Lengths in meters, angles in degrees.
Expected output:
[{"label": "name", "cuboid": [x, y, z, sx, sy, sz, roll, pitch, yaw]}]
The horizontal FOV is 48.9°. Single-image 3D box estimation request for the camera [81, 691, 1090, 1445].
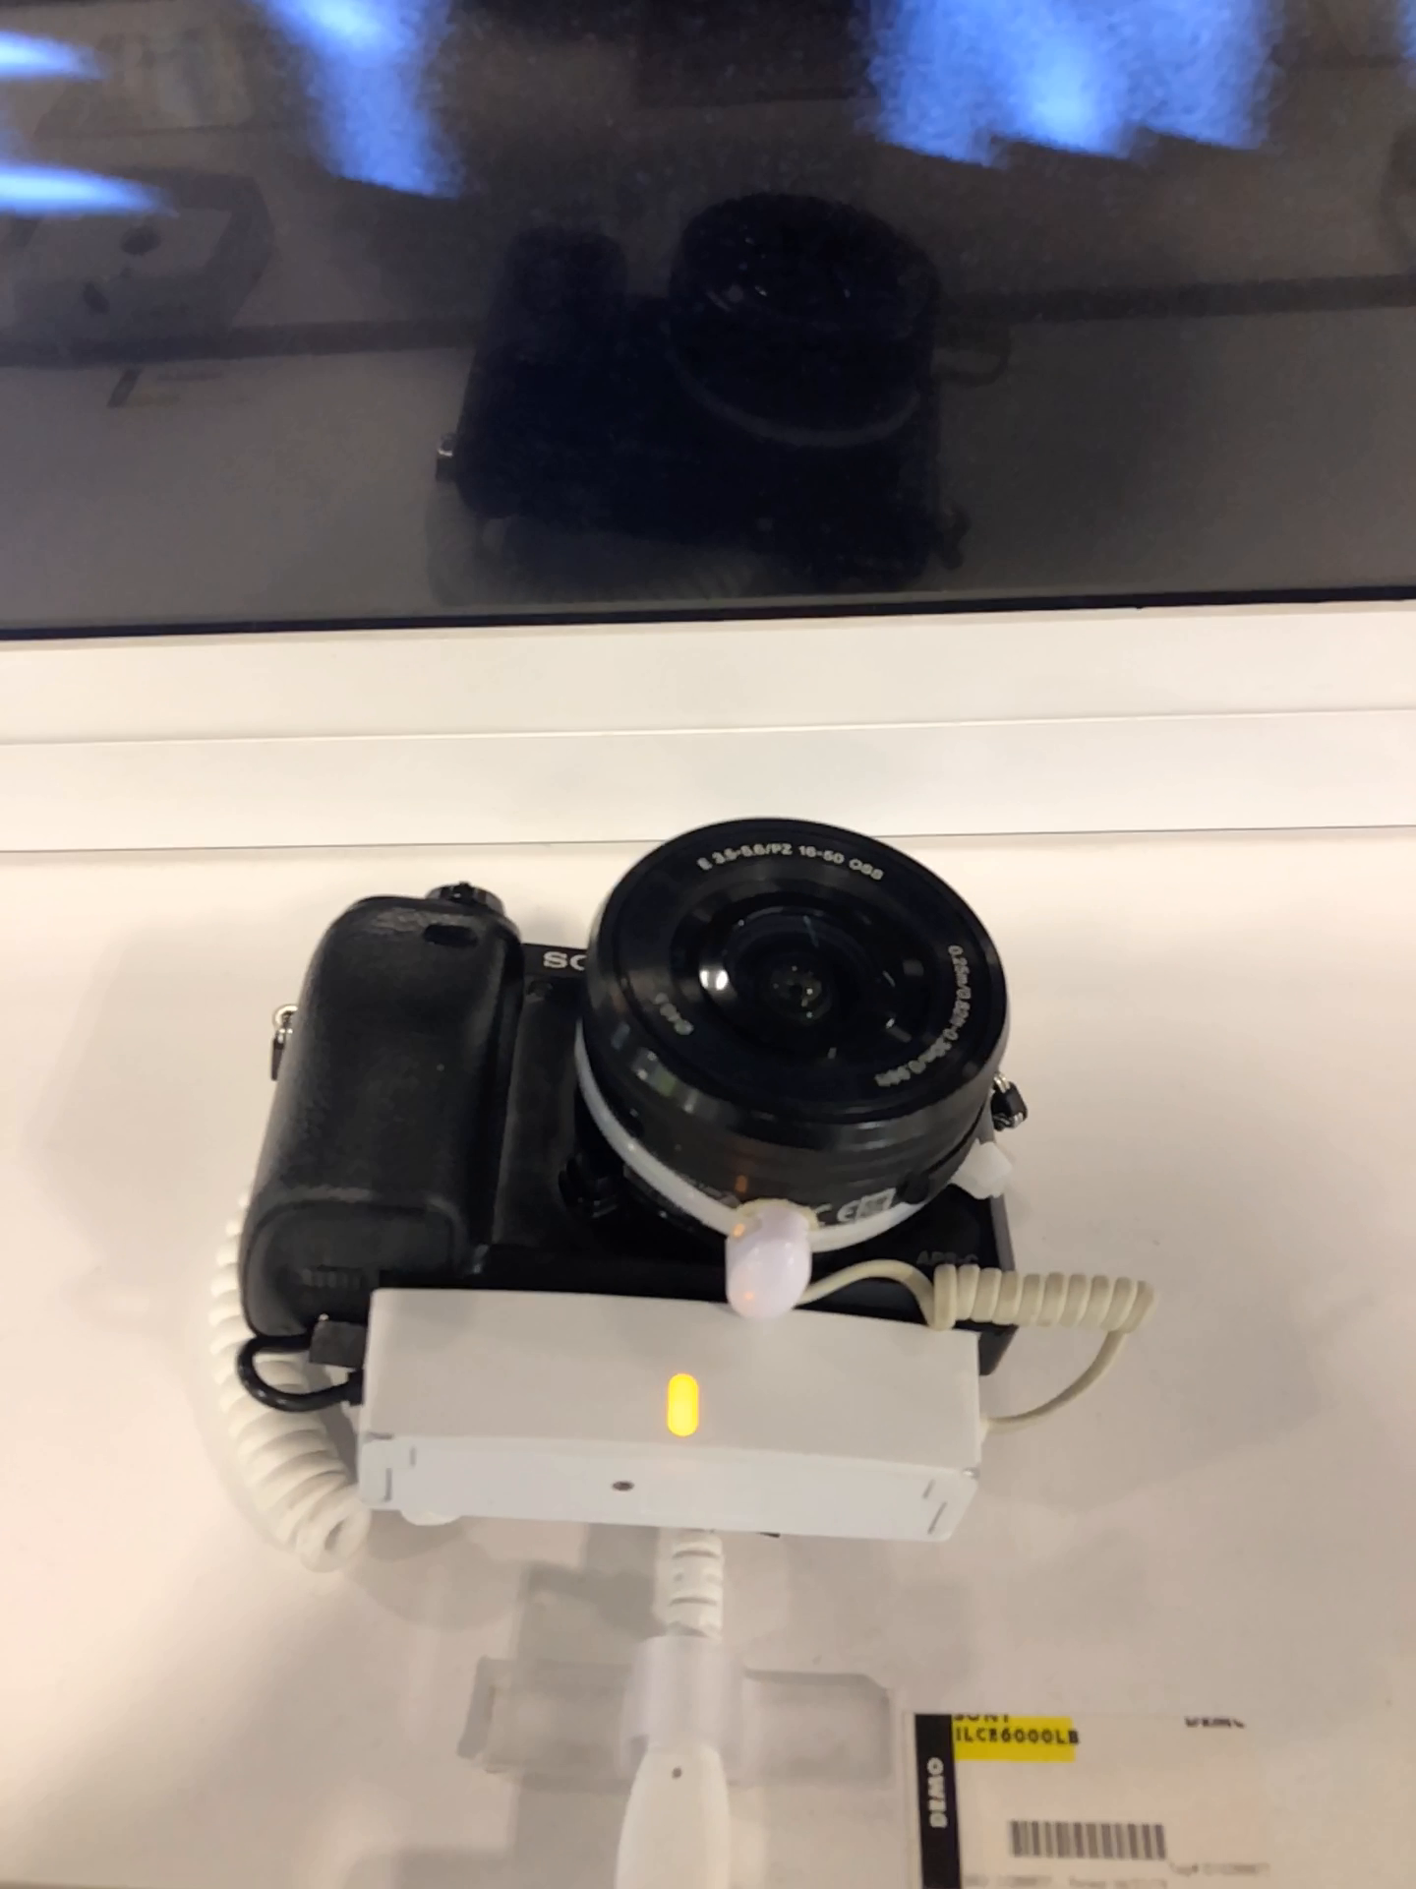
[{"label": "camera", "cuboid": [-0.016, 0.020, 0.257, 0.130, 0.070, 0.091, 5, 48, -2]}]
